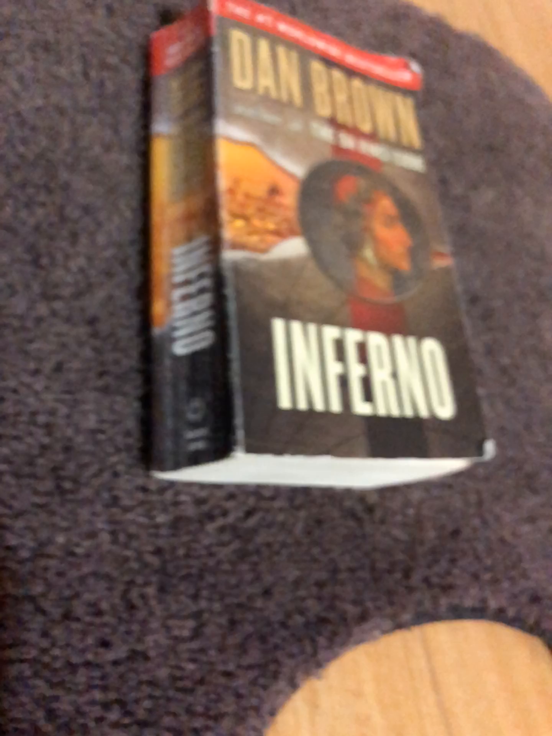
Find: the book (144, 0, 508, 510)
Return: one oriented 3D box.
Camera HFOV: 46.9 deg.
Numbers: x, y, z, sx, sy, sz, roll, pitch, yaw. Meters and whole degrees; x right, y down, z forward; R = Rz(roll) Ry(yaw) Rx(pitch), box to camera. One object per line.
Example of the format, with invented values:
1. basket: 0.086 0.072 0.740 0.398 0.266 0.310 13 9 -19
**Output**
1. book: 0.015 -0.049 0.255 0.120 0.050 0.200 8 68 -32
